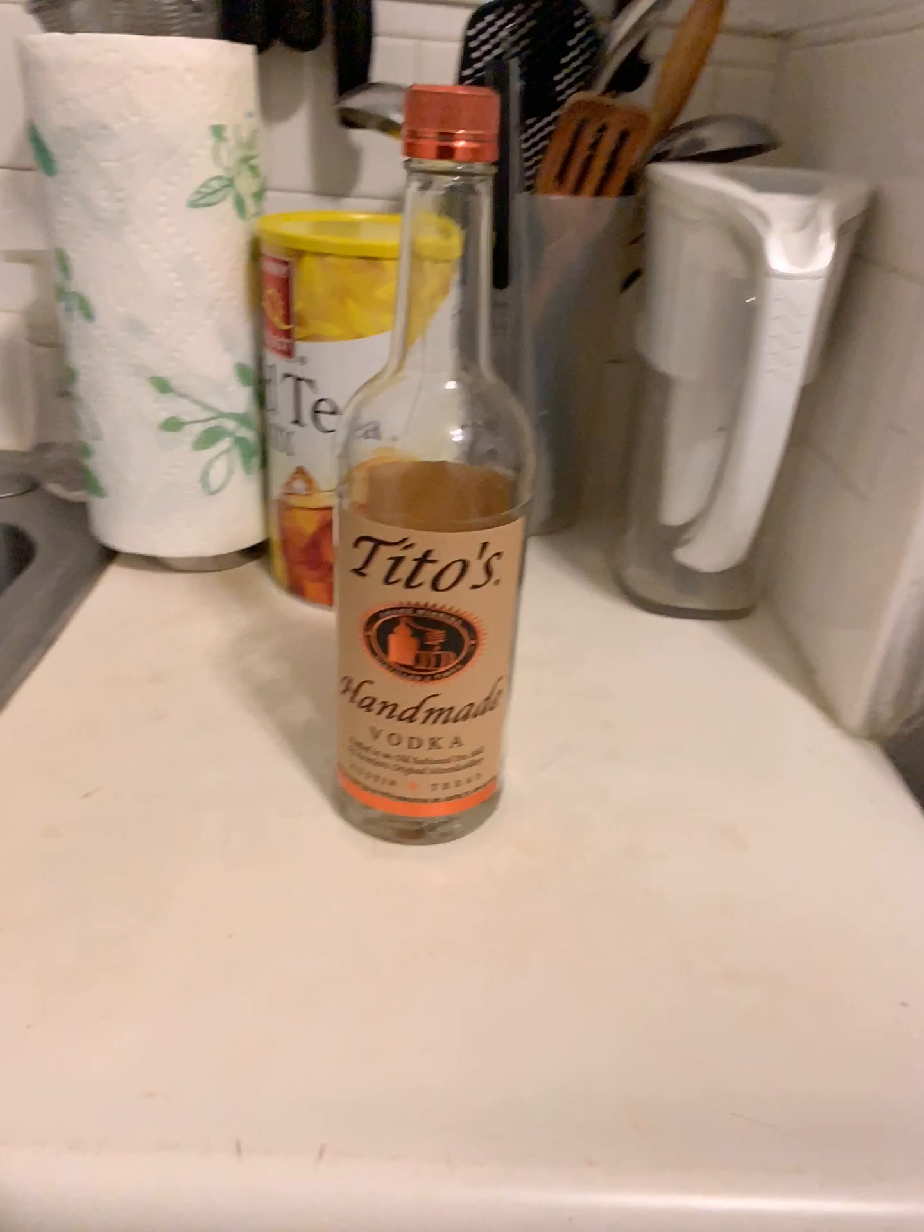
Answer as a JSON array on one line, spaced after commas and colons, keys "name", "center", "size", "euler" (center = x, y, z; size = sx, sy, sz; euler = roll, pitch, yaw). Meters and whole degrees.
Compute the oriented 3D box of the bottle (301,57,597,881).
[{"name": "bottle", "center": [-0.010, -0.043, 0.367], "size": [0.080, 0.288, 0.080], "euler": [4, 27, -2]}]
